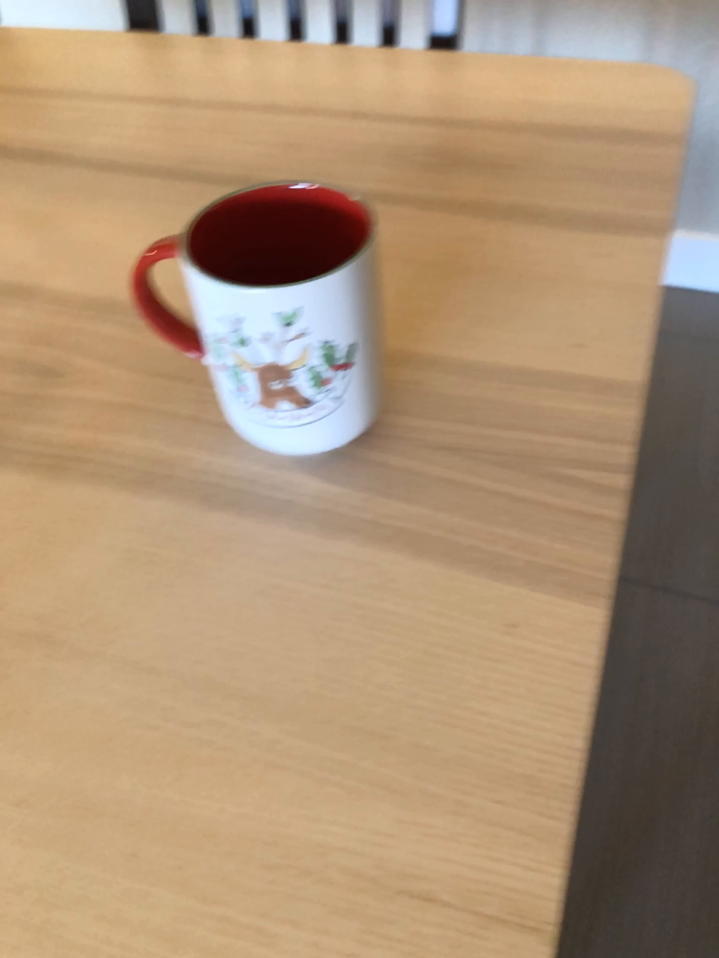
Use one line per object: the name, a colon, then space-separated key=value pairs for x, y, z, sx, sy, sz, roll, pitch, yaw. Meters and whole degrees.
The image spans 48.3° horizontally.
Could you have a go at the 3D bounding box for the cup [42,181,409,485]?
cup: x=-0.054 y=-0.075 z=0.401 sx=0.140 sy=0.100 sz=0.100 roll=6 pitch=48 yaw=11
